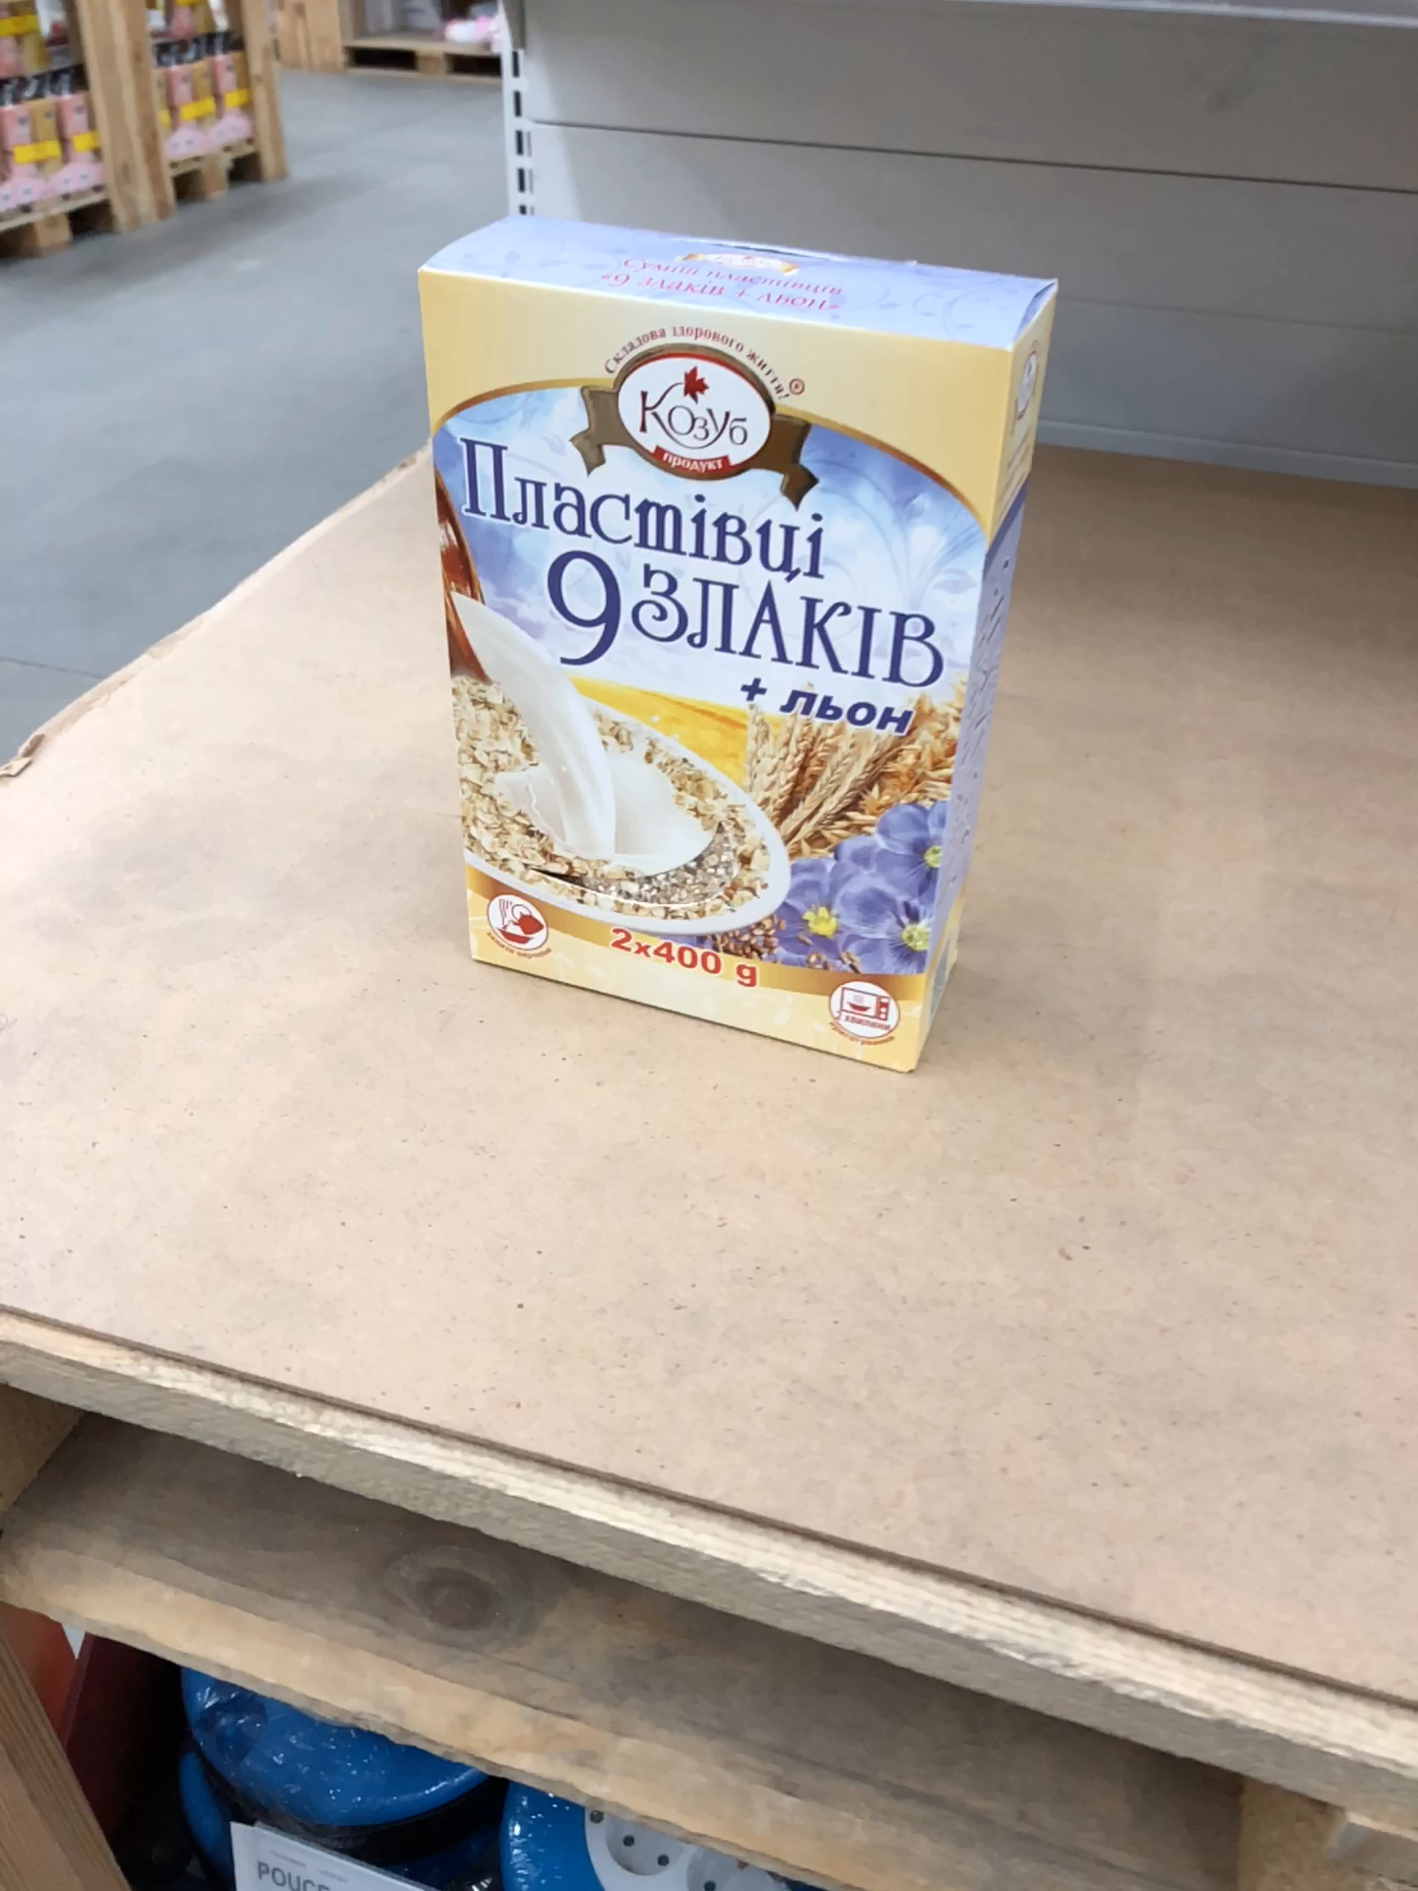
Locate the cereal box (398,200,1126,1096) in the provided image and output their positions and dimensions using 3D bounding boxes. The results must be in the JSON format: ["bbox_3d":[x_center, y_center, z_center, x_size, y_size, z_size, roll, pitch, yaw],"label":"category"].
[{"bbox_3d":[0.012,-0.086,0.486,0.180,0.238,0.070,13,39,15],"label":"cereal box"}]
